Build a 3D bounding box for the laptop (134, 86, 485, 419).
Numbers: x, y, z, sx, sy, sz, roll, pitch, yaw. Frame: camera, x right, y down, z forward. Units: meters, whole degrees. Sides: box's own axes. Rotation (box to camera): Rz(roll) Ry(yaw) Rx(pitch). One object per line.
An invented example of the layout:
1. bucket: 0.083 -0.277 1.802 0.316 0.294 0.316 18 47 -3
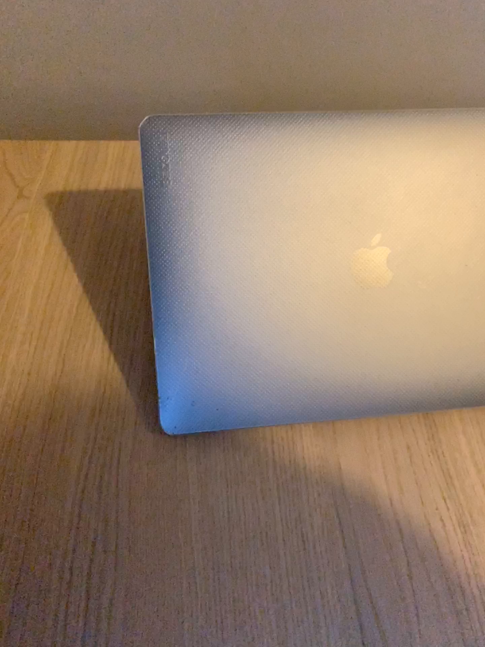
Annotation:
1. laptop: 0.085 -0.063 0.377 0.309 0.127 0.207 -5 52 -6
